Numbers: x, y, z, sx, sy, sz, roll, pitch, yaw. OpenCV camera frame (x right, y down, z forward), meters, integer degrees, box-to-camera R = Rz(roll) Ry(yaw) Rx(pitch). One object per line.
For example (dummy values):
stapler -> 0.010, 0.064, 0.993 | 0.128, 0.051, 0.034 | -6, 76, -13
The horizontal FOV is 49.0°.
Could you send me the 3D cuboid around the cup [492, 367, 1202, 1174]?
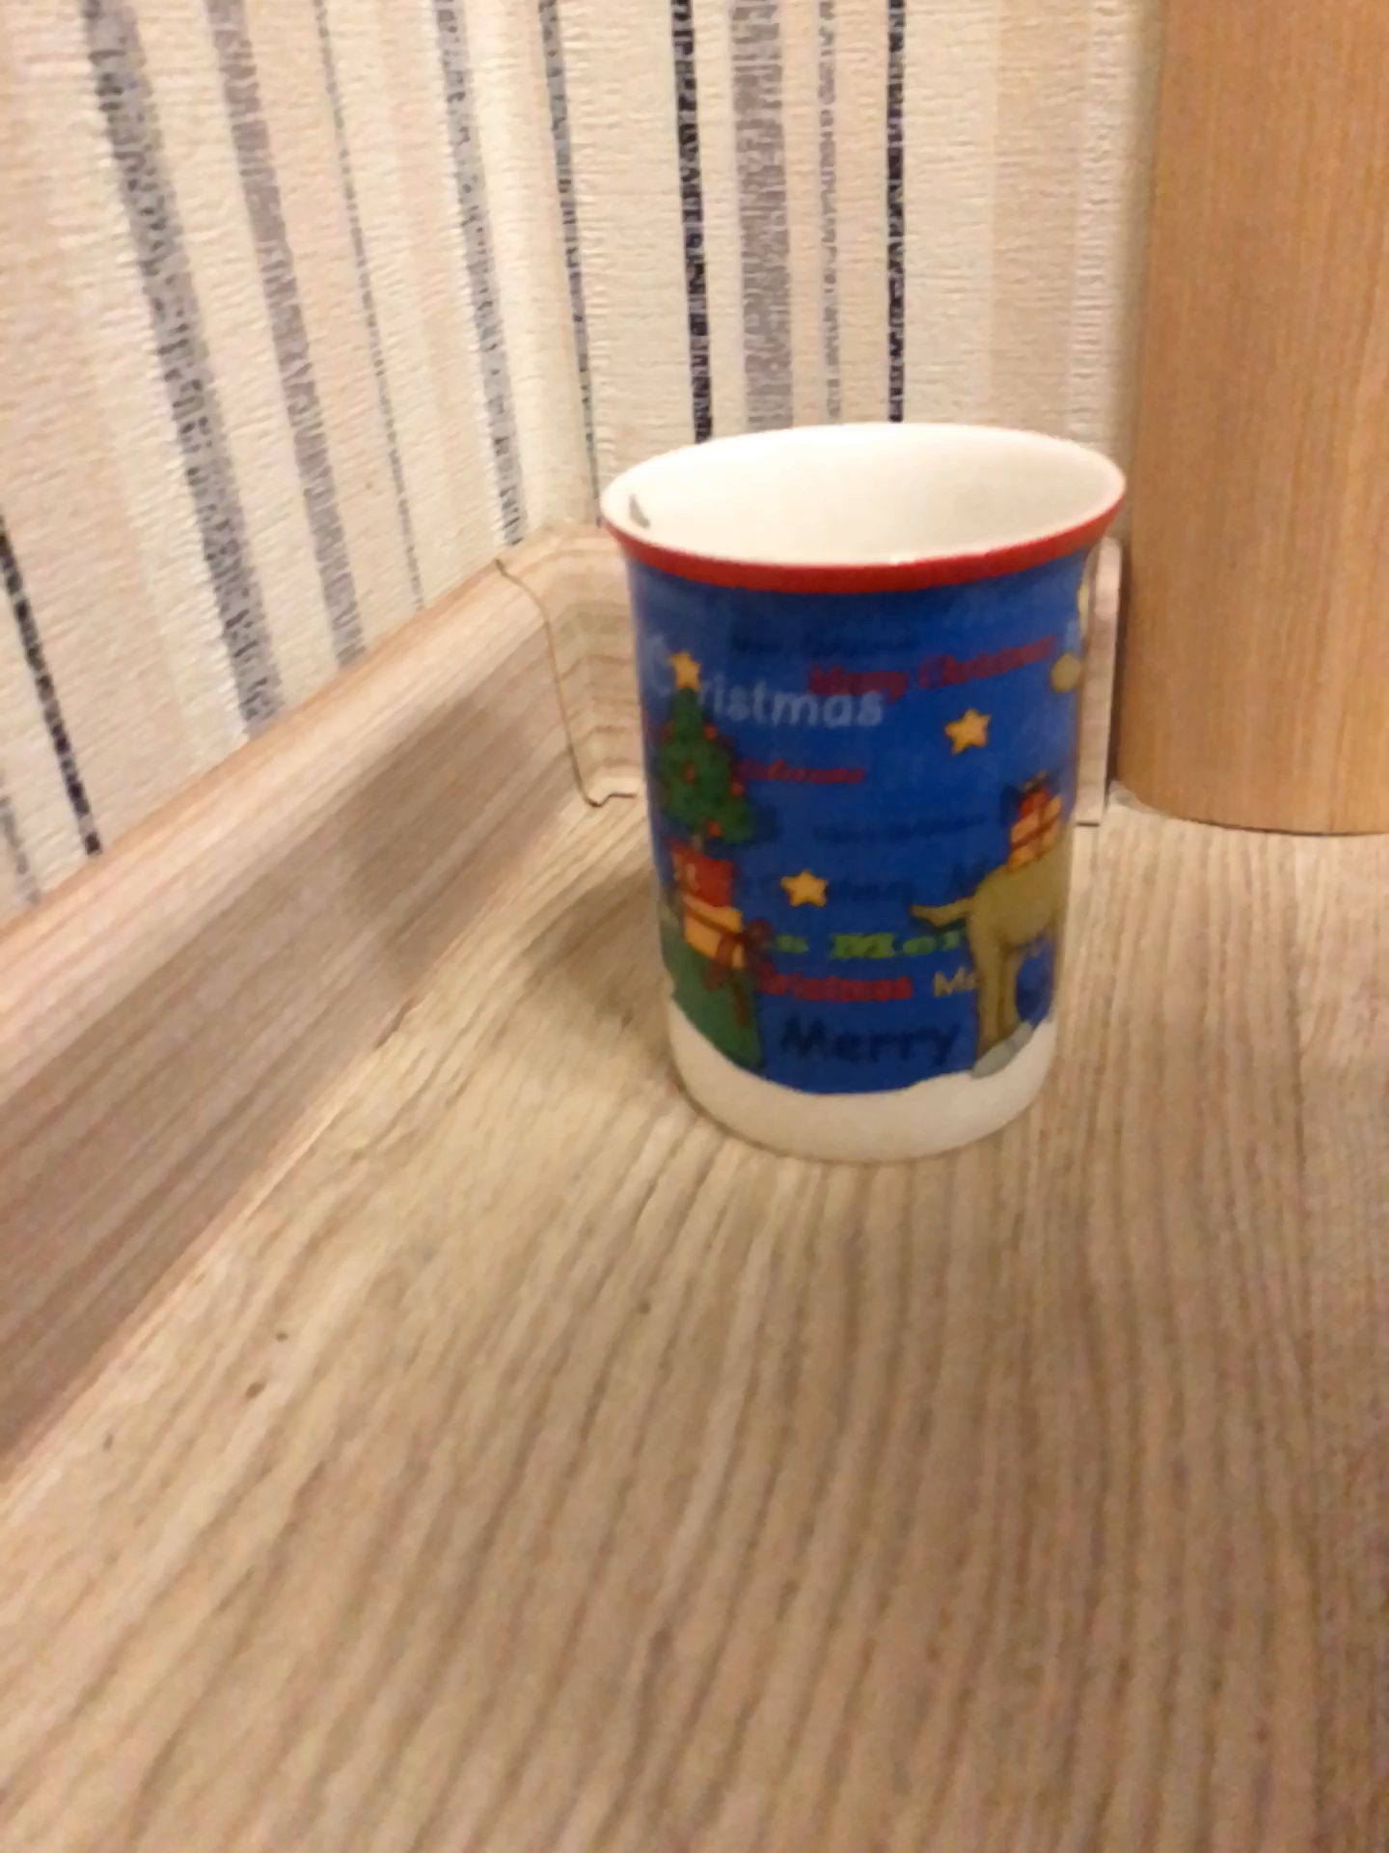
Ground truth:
cup -> 0.027, -0.034, 0.263 | 0.087, 0.094, 0.121 | 0, 30, 7
